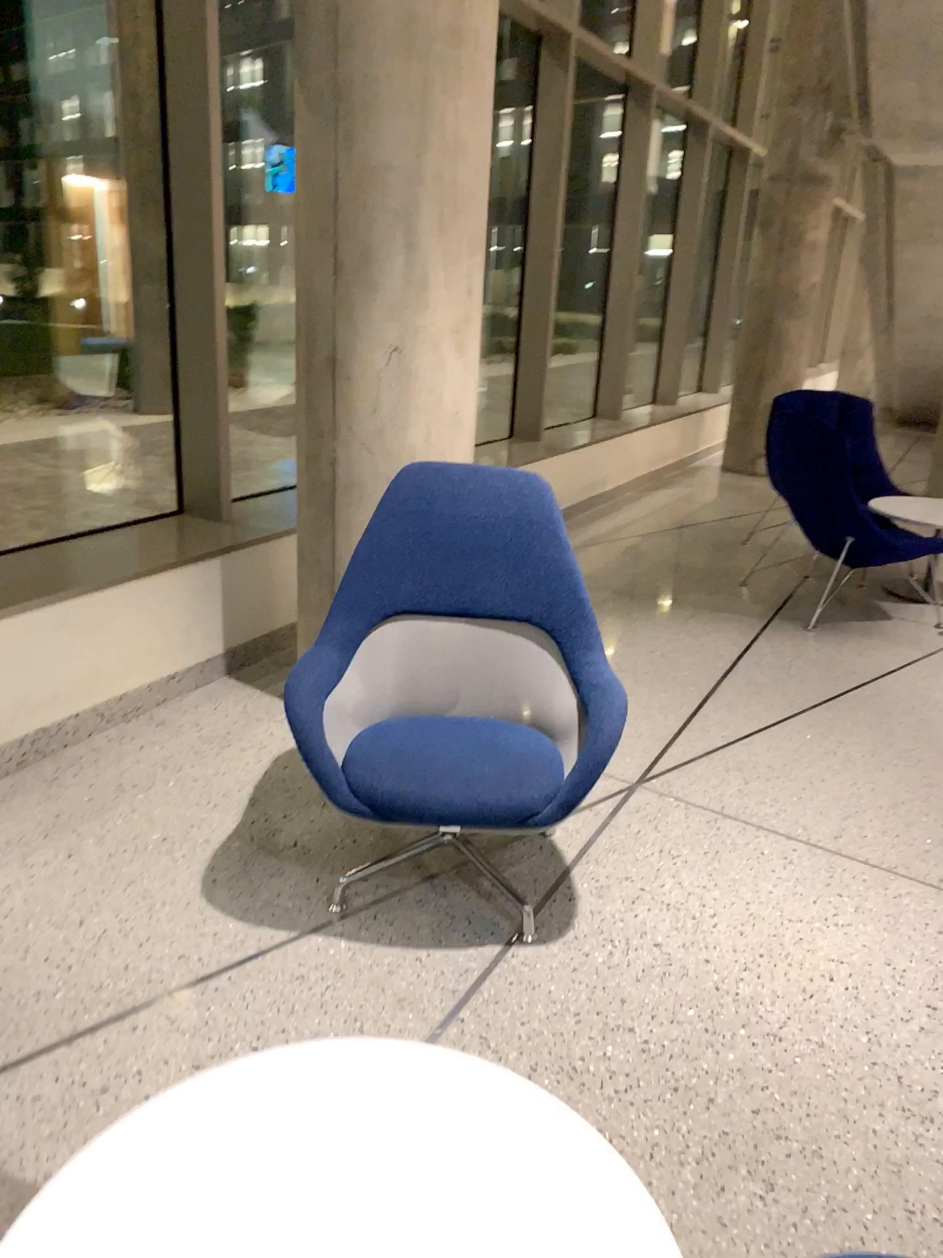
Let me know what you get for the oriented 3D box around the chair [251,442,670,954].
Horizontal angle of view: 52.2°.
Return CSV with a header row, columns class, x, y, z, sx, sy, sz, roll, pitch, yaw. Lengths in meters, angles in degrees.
class,x,y,z,sx,sy,sz,roll,pitch,yaw
chair,-0.035,0.126,2.325,0.814,0.998,0.635,4,19,2
